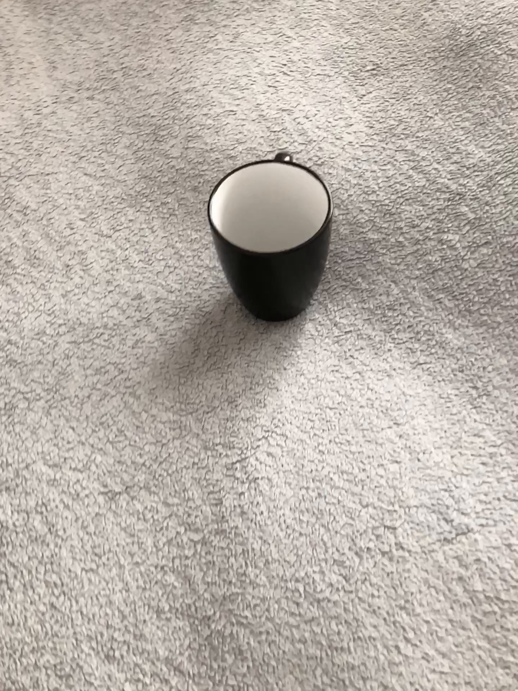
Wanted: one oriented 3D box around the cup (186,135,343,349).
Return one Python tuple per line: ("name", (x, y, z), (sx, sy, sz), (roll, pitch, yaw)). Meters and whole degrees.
("cup", (0.012, -0.078, 0.429), (0.090, 0.090, 0.128), (4, 59, 10))
